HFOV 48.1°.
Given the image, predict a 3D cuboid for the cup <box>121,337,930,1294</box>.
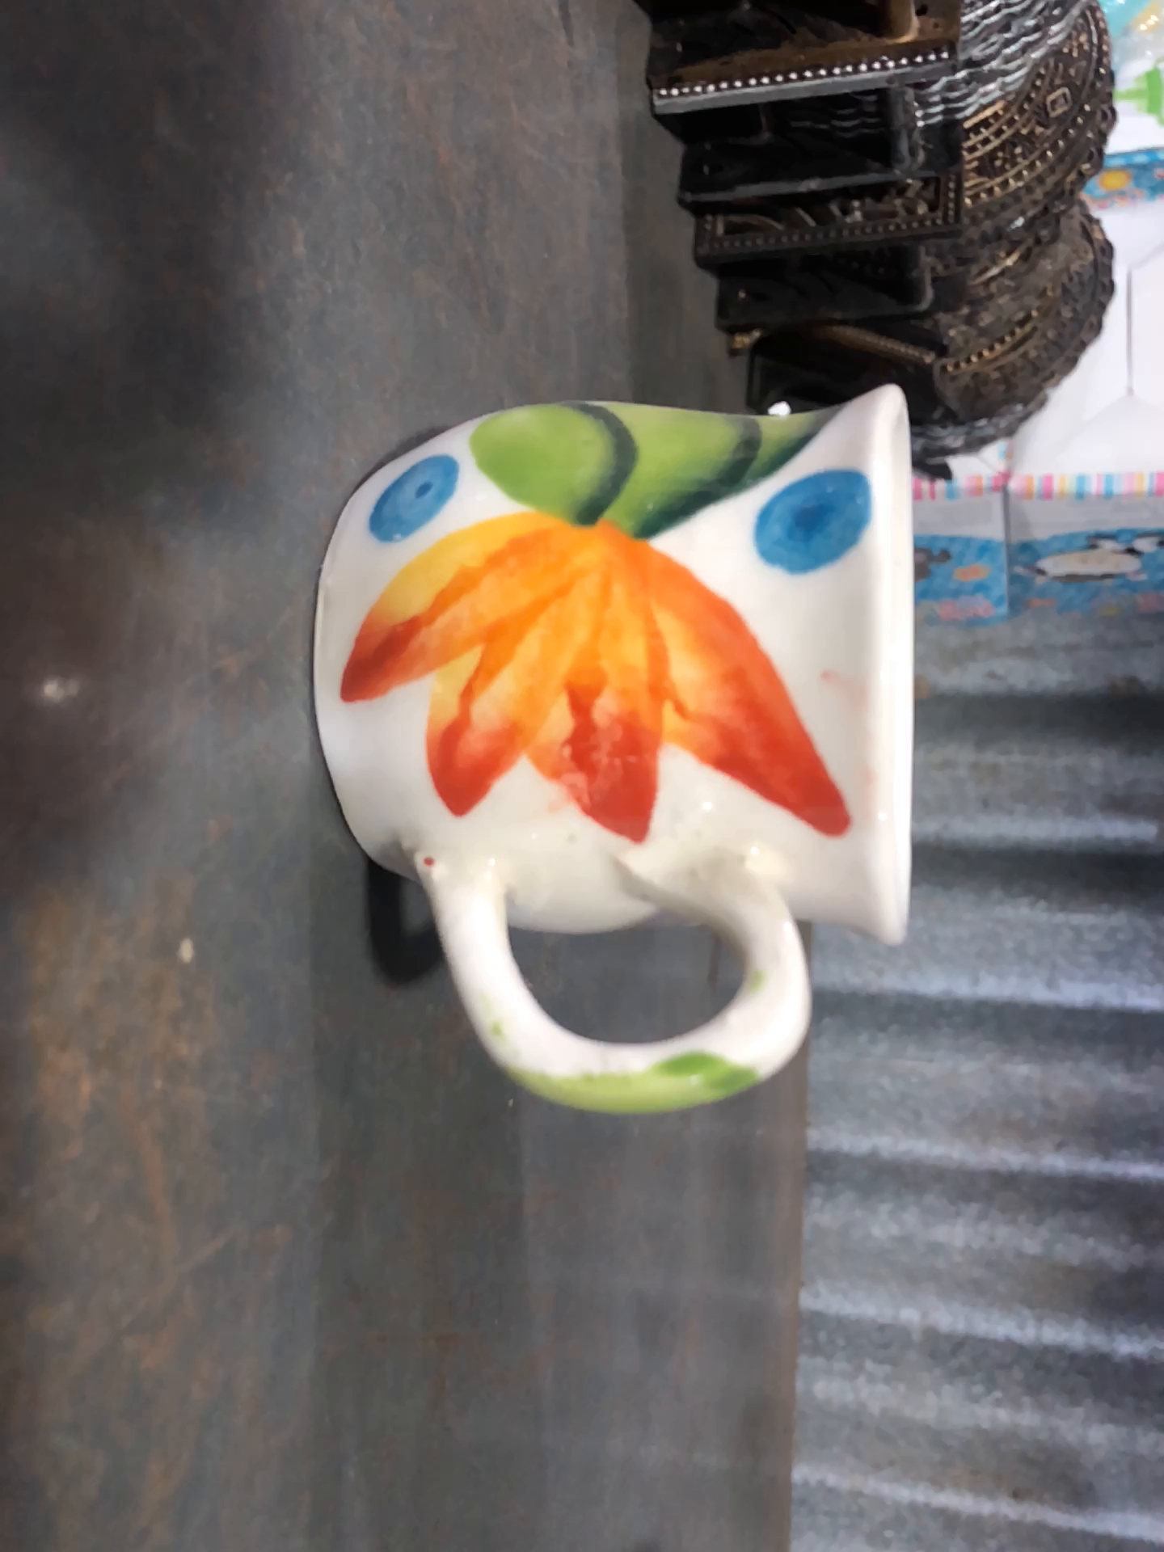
[{"bbox_3d":[0.006,0.006,0.164,0.070,0.070,0.090,69,27,-54],"label":"cup"}]
